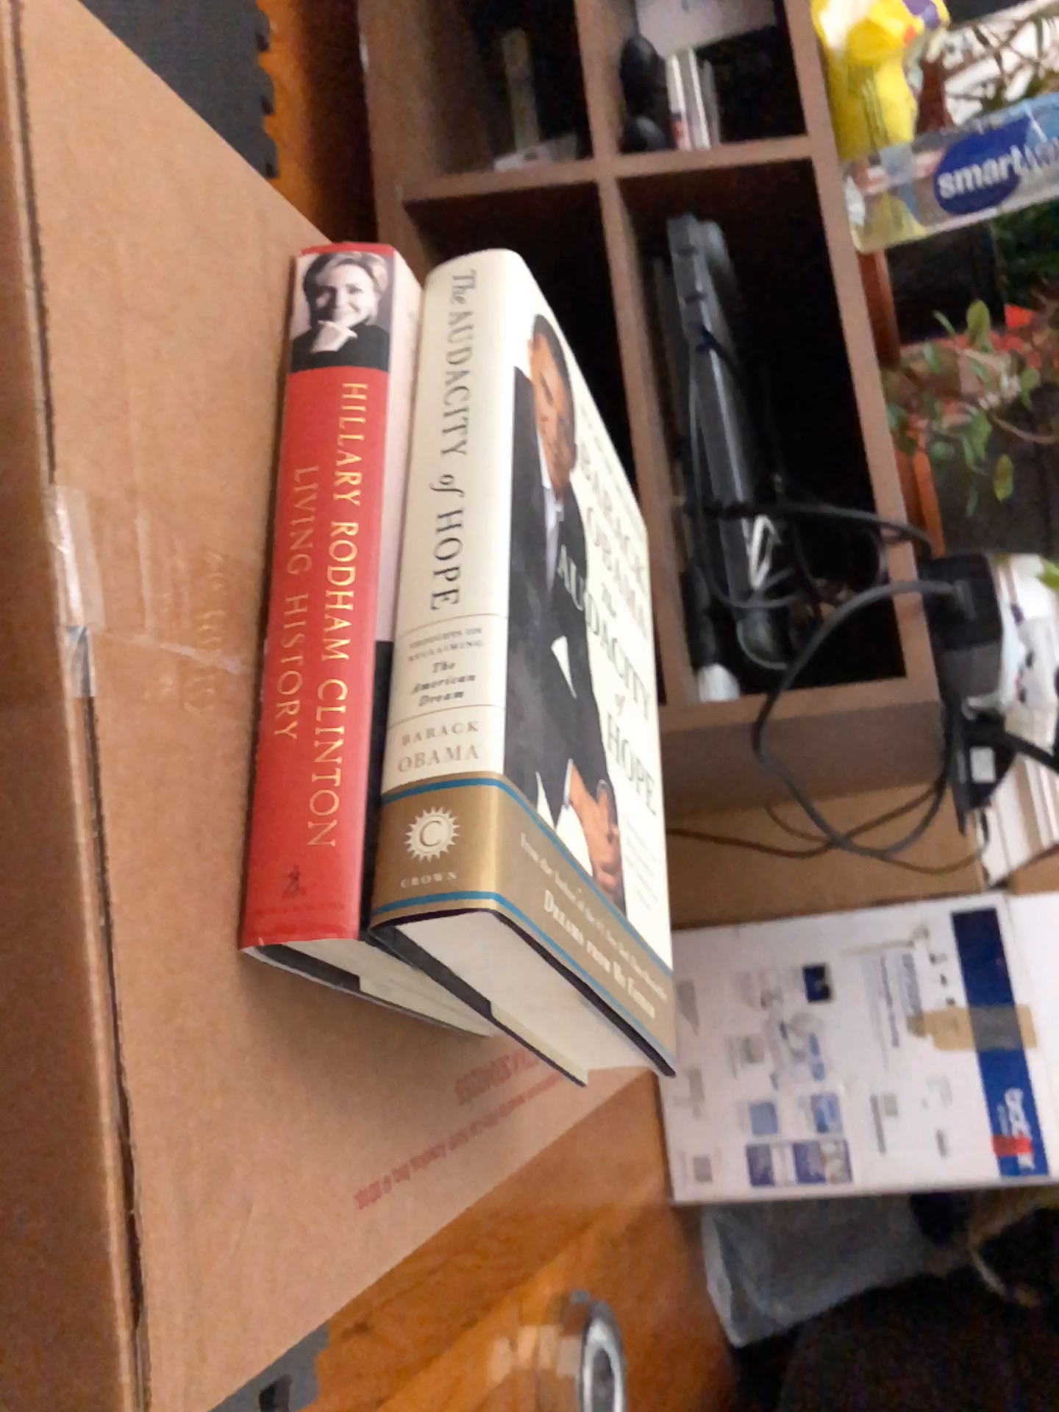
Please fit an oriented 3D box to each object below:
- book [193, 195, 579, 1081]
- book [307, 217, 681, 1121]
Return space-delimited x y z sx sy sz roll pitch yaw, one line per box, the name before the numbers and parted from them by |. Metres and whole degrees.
book | -0.035 -0.014 0.401 0.170 0.040 0.250 48 35 -58
book | 0.002 -0.007 0.409 0.190 0.040 0.250 54 30 -53
